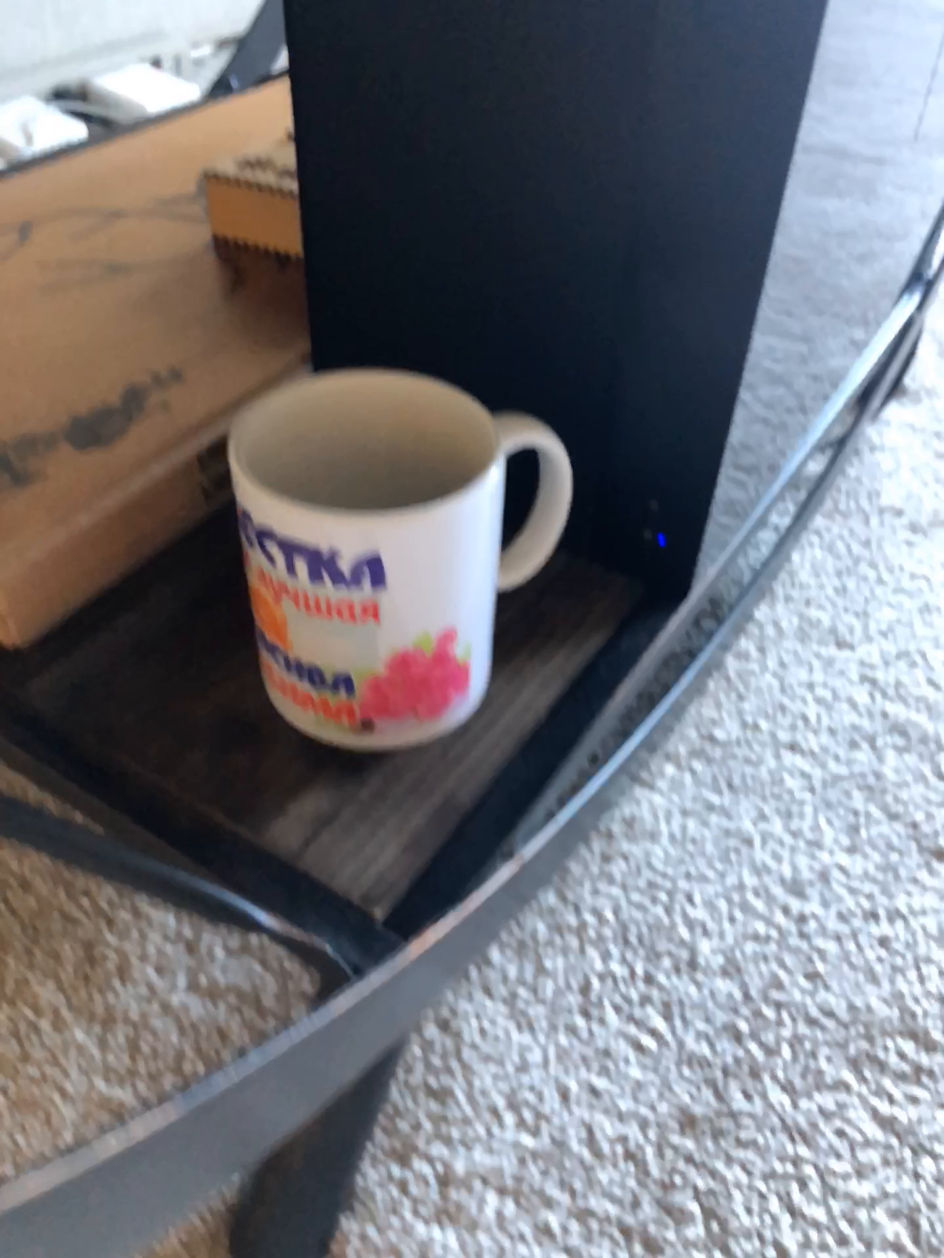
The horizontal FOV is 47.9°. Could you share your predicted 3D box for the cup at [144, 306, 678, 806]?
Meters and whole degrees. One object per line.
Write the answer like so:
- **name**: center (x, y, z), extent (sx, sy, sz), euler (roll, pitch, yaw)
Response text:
- **cup**: center (-0.020, -0.031, 0.365), extent (0.140, 0.100, 0.090), euler (-24, 49, -26)
